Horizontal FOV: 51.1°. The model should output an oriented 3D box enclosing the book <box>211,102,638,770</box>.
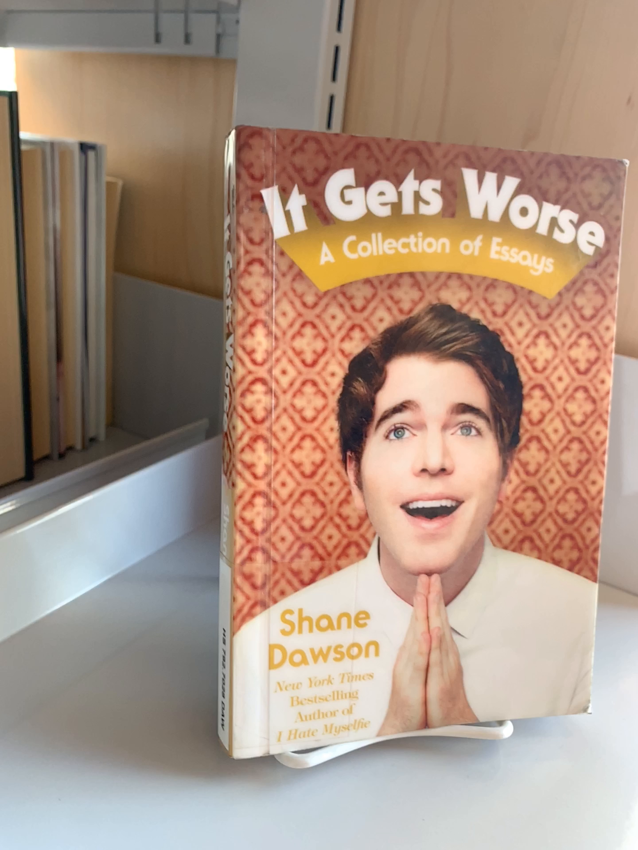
[{"bbox_3d":[0.039,0.008,0.243,0.149,0.210,0.030,0,7,-17],"label":"book"}]
